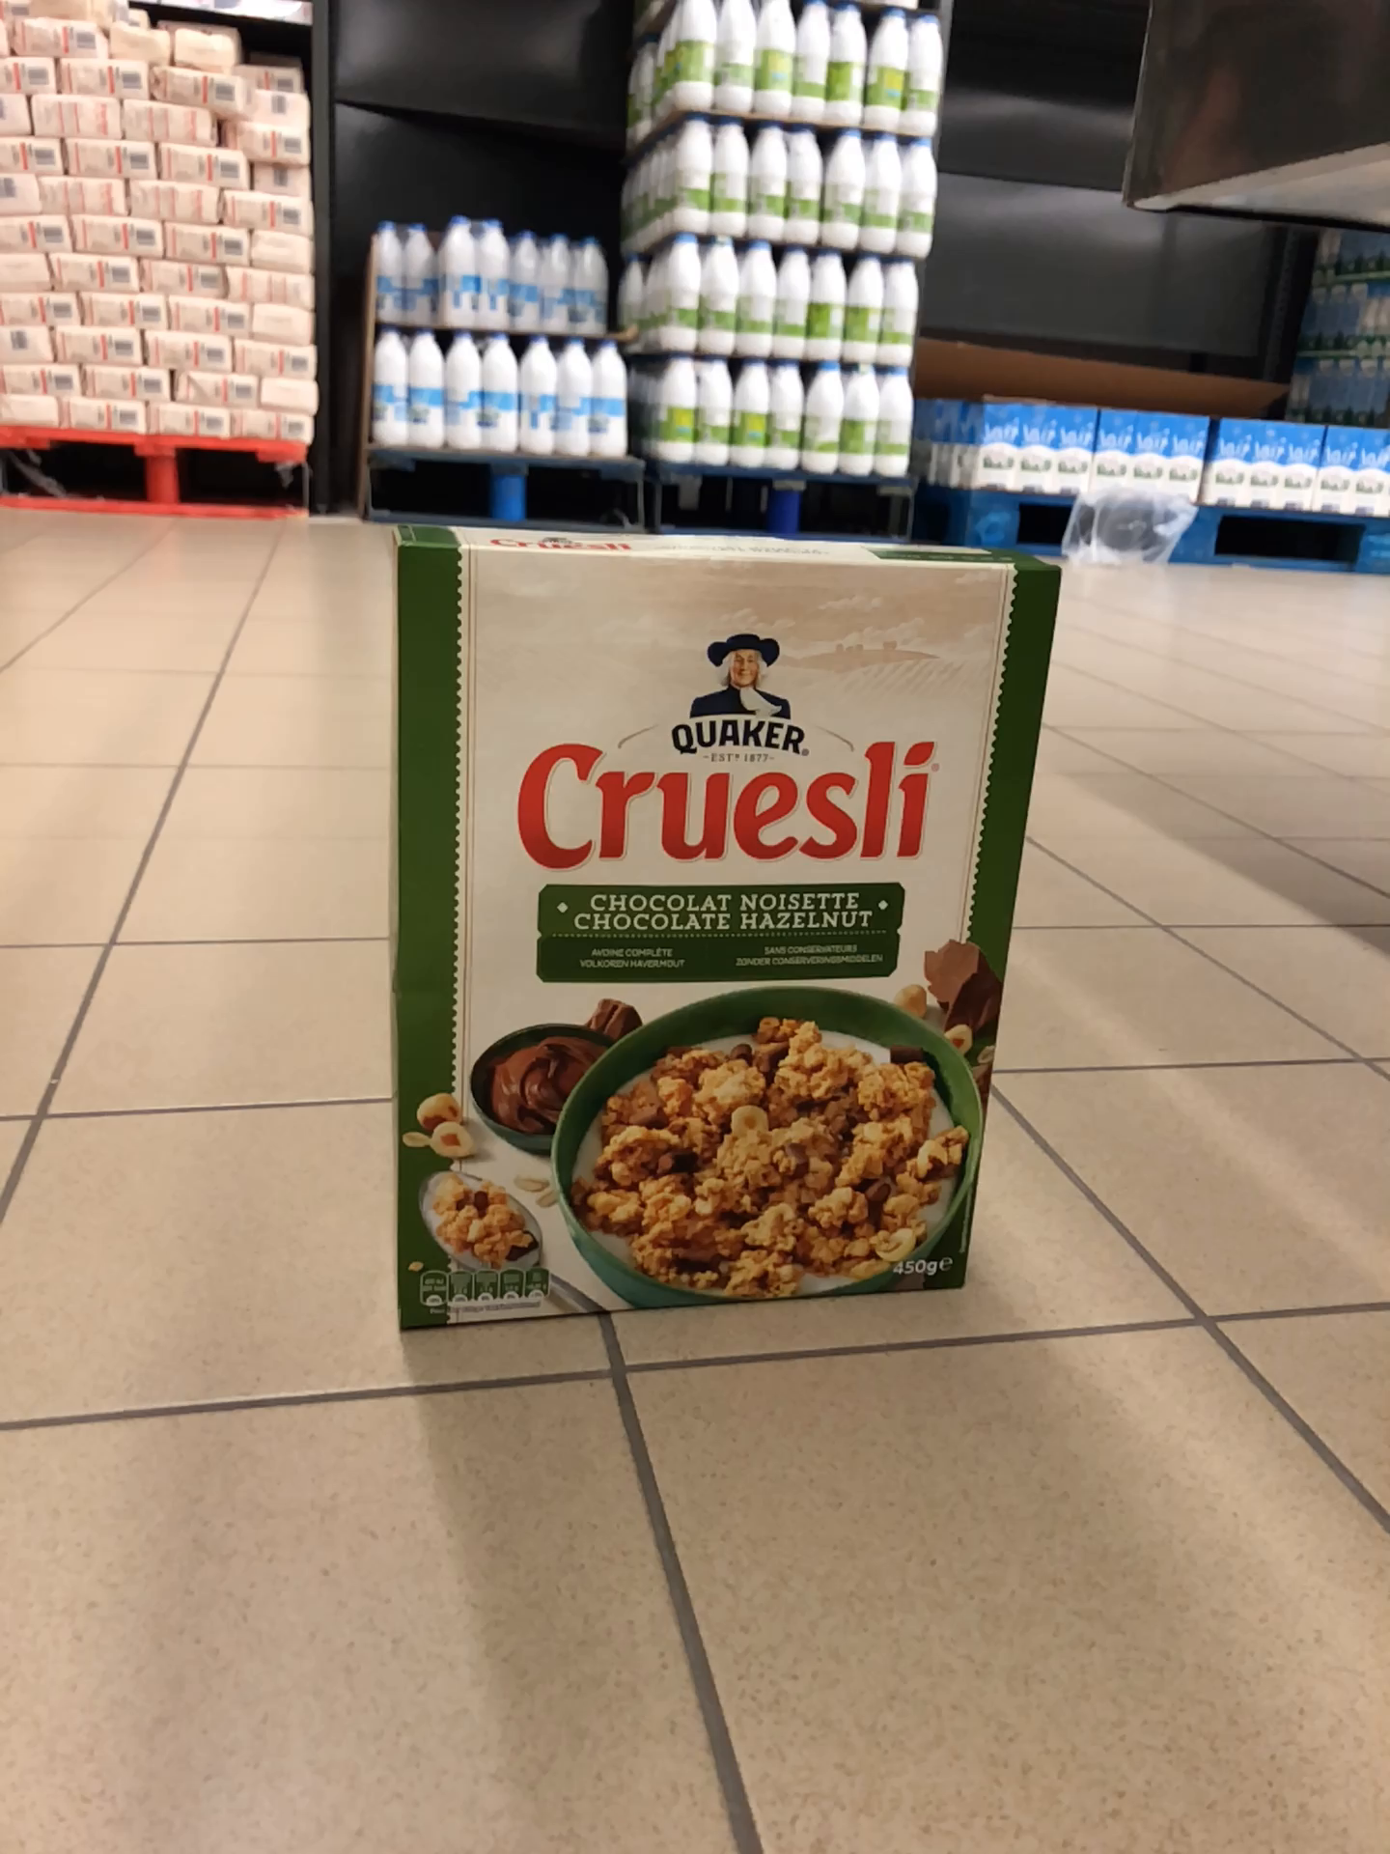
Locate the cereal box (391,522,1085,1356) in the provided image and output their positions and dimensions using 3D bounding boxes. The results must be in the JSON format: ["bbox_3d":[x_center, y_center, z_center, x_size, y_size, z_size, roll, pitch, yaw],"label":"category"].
[{"bbox_3d":[0.004,0.005,0.471,0.190,0.239,0.060,-1,18,-11],"label":"cereal box"}]
